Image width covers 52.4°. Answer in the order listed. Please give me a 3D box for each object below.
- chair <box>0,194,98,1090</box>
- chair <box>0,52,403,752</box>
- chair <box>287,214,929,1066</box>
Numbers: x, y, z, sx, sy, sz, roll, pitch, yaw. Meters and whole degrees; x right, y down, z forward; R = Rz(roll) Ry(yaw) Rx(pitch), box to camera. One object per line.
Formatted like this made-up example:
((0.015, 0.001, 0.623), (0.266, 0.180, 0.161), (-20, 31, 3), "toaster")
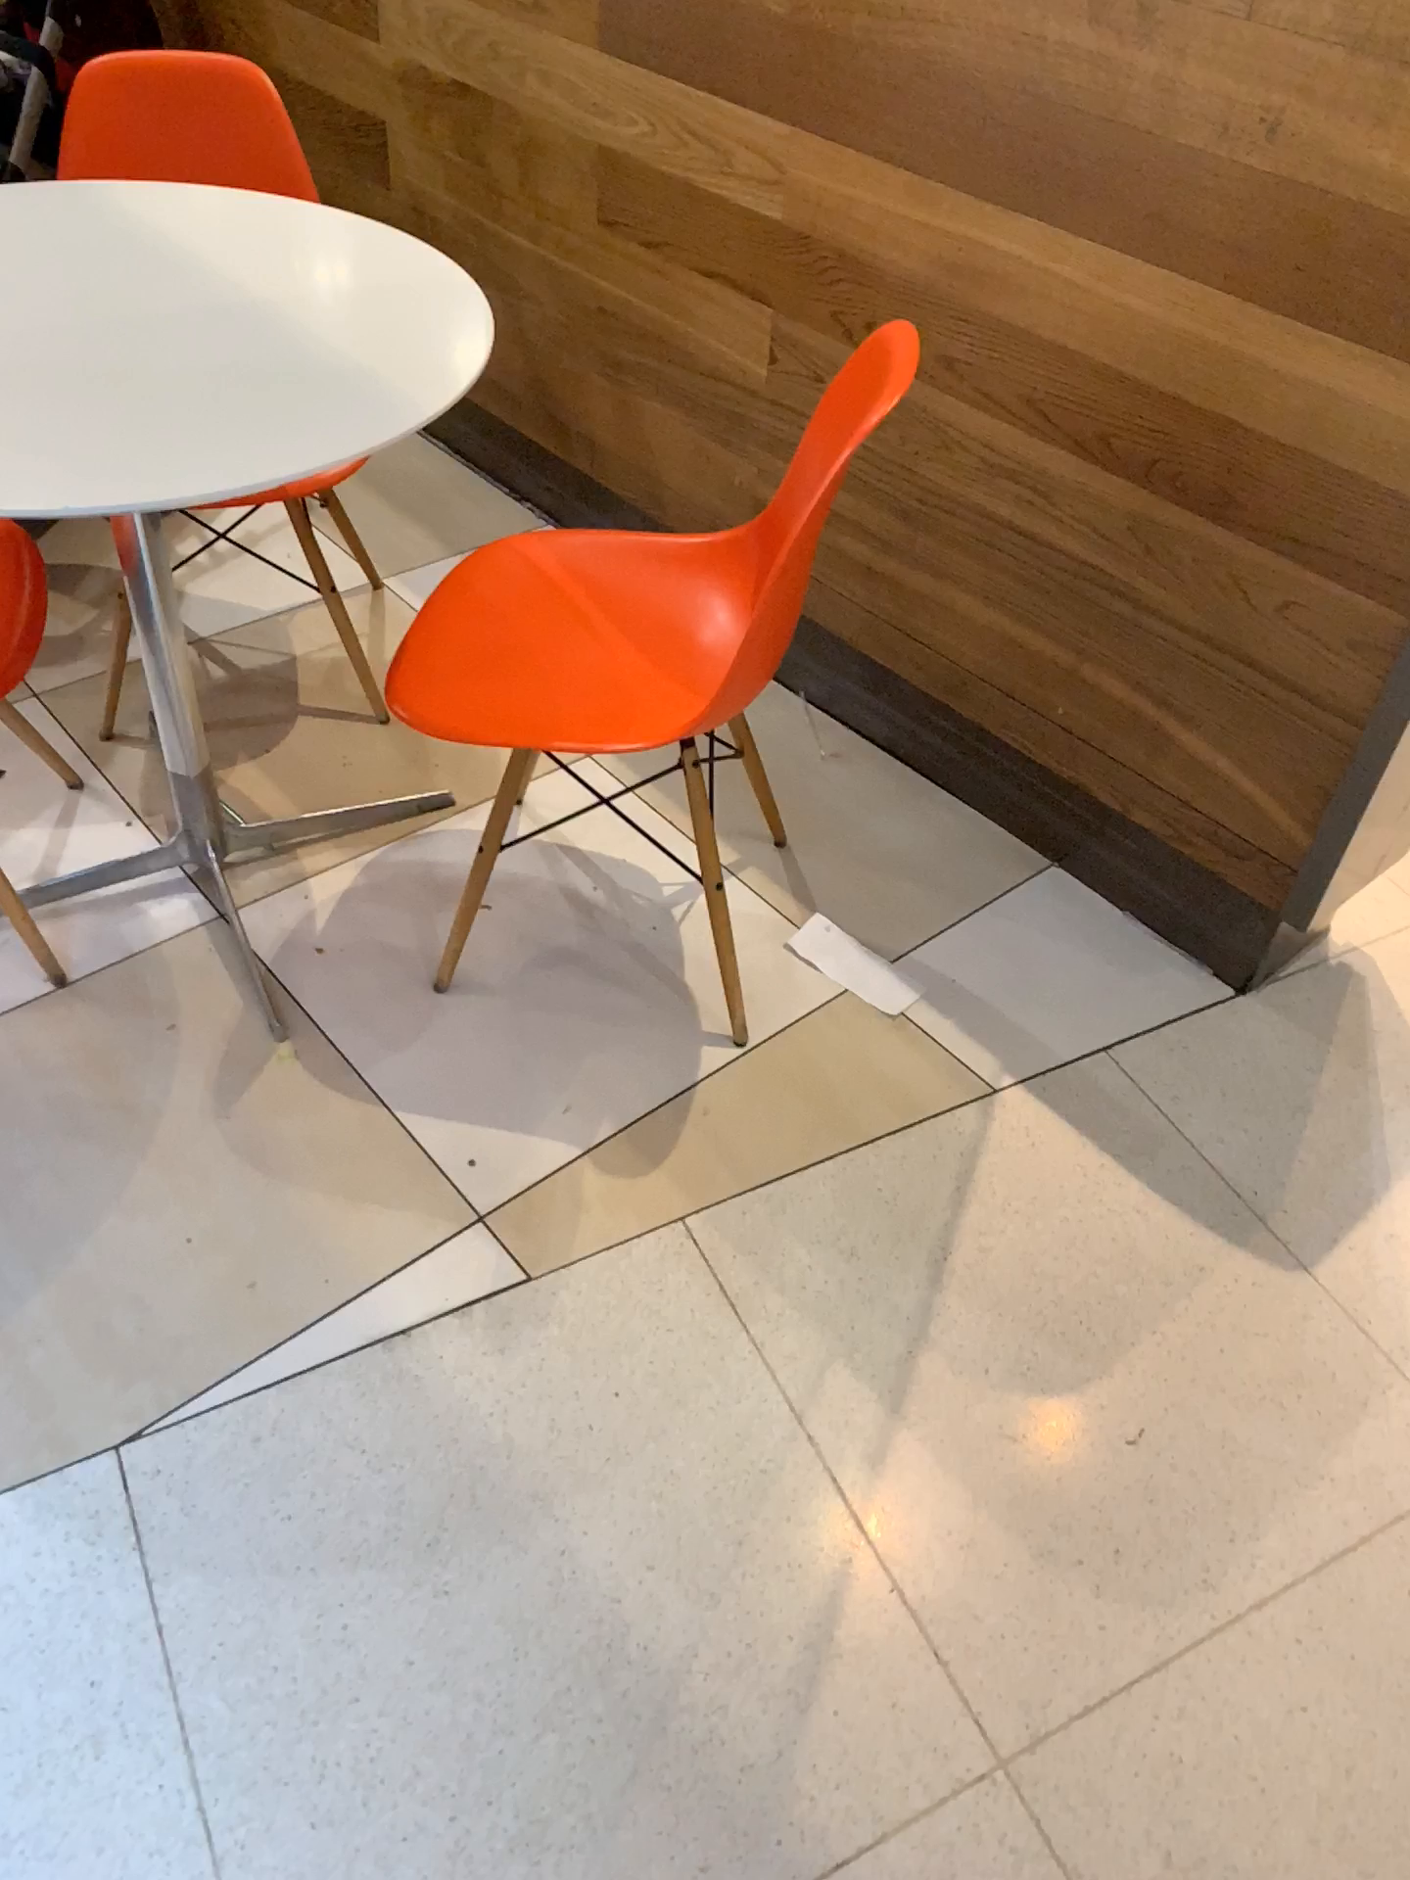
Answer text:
((-0.998, -0.302, 1.517), (0.511, 0.762, 0.451), (-9, 45, -15), "chair")
((-0.699, -0.738, 1.991), (0.448, 0.742, 0.525), (-7, 45, -12), "chair")
((-0.084, -0.314, 1.605), (0.520, 0.742, 0.452), (9, 44, 4), "chair")
